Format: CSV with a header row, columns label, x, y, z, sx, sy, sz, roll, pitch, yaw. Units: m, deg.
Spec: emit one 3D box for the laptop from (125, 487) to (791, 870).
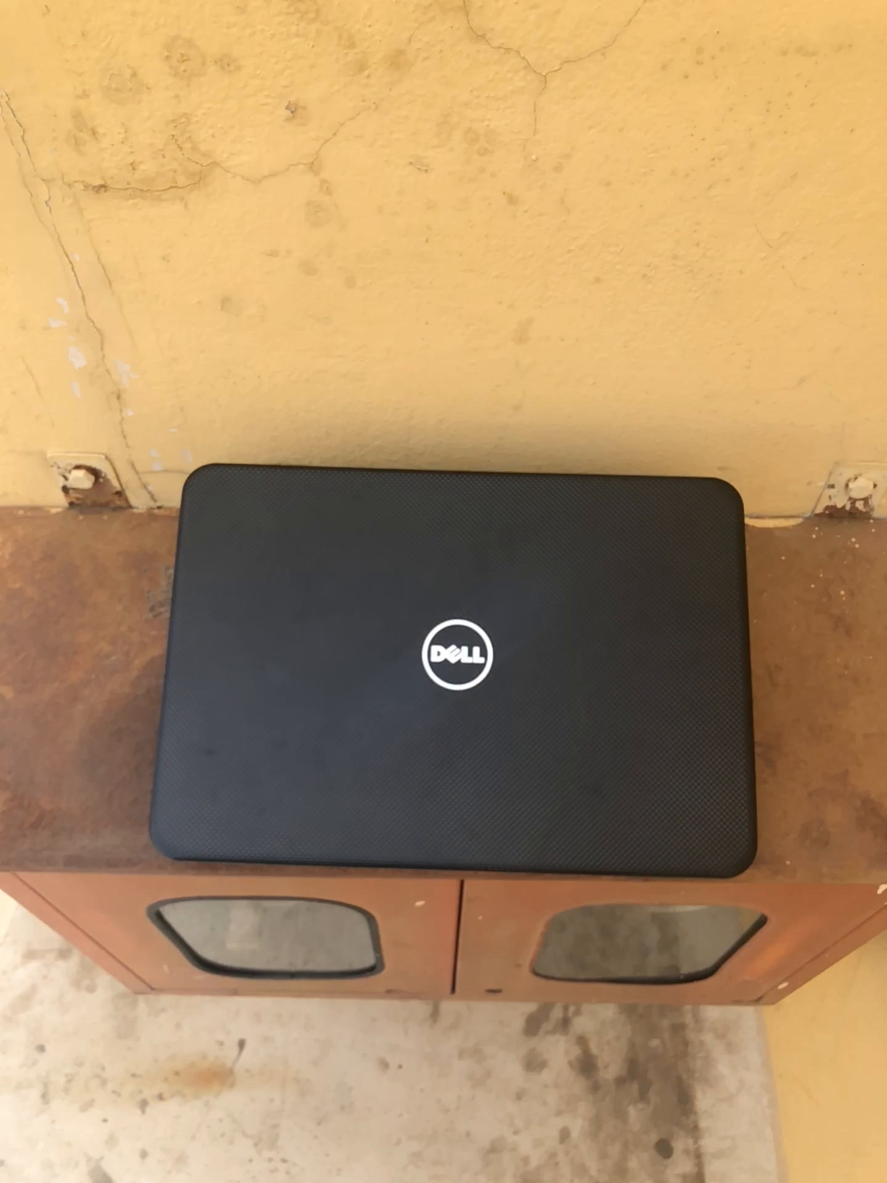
label,x,y,z,sx,sy,sz,roll,pitch,yaw
laptop,0.012,0.054,0.594,0.352,0.098,0.183,2,66,1
